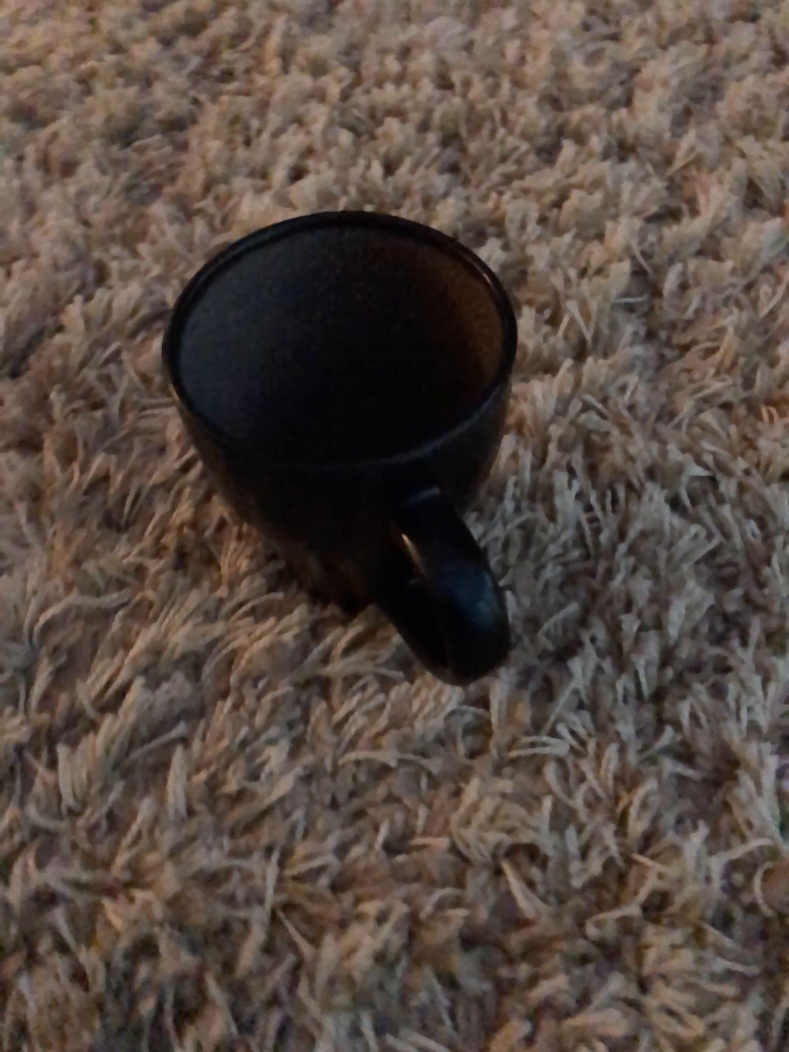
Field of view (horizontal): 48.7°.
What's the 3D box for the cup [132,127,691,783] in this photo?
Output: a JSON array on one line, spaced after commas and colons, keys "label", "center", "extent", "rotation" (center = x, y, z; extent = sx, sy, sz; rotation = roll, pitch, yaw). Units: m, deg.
[{"label": "cup", "center": [-0.003, -0.023, 0.246], "extent": [0.090, 0.090, 0.141], "rotation": [-19, 57, -8]}]
